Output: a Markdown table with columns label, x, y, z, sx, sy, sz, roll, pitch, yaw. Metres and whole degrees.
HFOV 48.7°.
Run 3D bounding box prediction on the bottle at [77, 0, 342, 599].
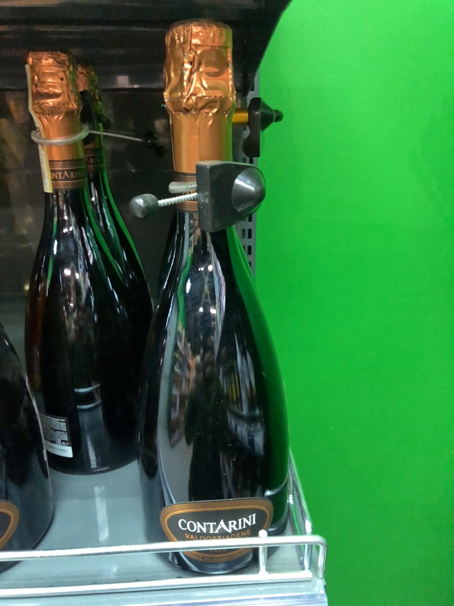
| label | x | y | z | sx | sy | sz | roll | pitch | yaw |
| --- | --- | --- | --- | --- | --- | --- | --- | --- | --- |
| bottle | -0.009 | 0.006 | 0.284 | 0.100 | 0.299 | 0.100 | 0 | 19 | 0 |
